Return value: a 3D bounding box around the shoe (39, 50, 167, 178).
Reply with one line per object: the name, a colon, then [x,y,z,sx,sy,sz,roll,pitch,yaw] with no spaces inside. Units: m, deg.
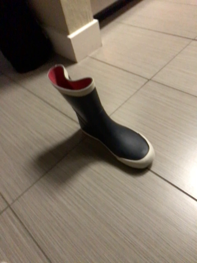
shoe: [0.016,-0.047,0.535,0.279,0.217,0.102,31,66,33]
